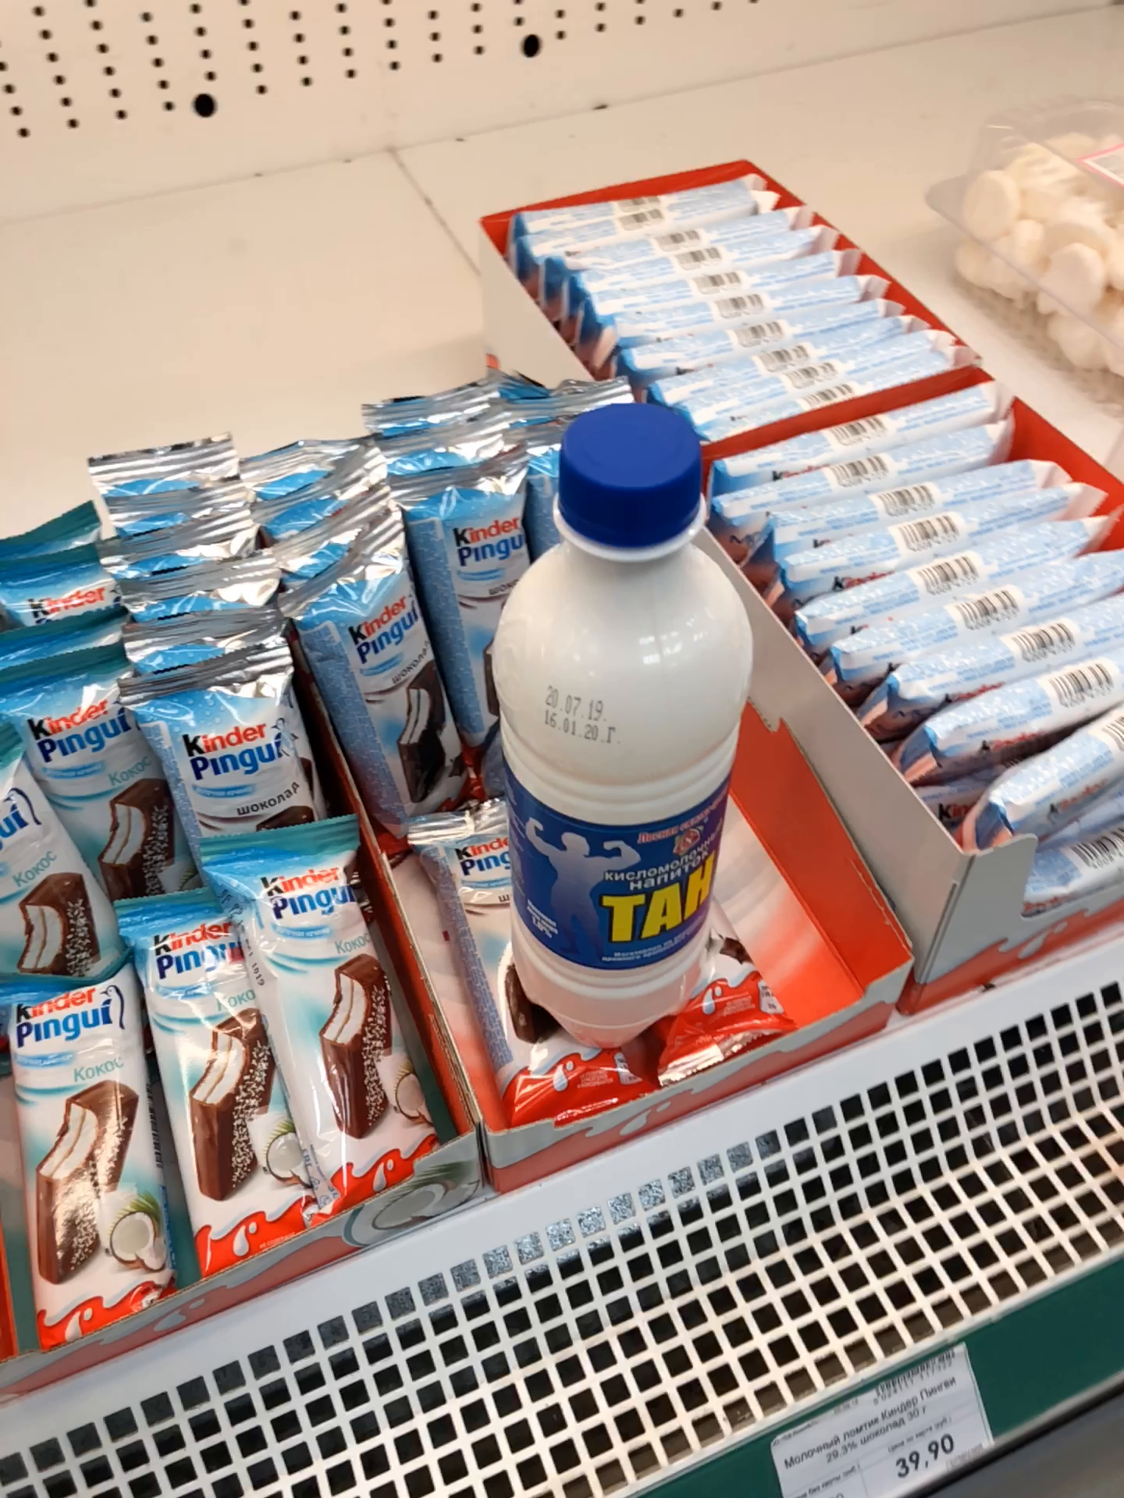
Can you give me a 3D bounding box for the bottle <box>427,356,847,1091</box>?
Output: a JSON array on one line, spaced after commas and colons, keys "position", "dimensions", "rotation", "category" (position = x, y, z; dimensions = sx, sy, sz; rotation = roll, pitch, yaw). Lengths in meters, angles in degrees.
[{"position": [0.016, 0.008, 0.331], "dimensions": [0.064, 0.203, 0.060], "rotation": [-1, 50, 1], "category": "bottle"}]
